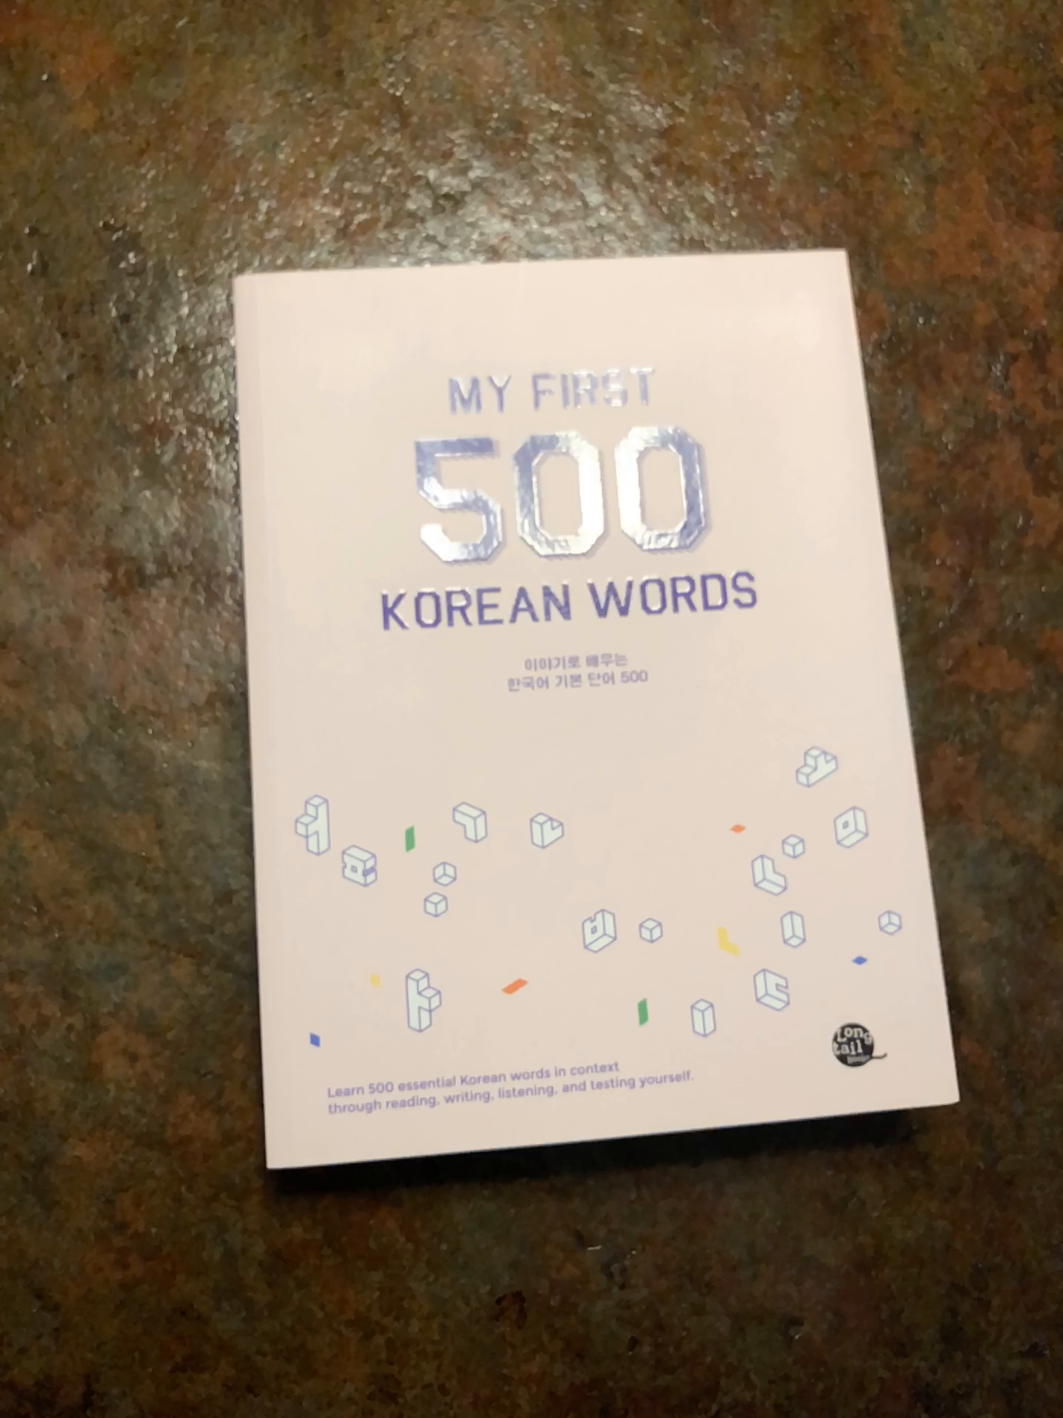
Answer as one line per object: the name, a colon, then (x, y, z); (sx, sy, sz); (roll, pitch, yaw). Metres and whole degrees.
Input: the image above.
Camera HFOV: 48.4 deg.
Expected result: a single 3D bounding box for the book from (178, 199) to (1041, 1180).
book: (0.014, -0.014, 0.301); (0.190, 0.030, 0.230); (-4, 80, -5)
